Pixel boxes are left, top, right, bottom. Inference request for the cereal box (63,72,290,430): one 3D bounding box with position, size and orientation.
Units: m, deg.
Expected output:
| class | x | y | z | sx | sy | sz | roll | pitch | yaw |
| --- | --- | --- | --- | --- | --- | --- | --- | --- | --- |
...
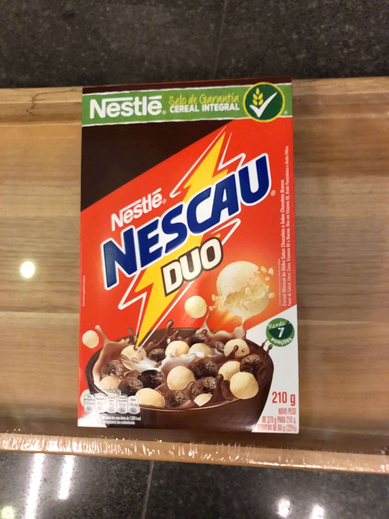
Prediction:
| class | x | y | z | sx | sy | sz | roll | pitch | yaw |
| --- | --- | --- | --- | --- | --- | --- | --- | --- | --- |
| cereal box | -0.012 | -0.007 | 0.336 | 0.160 | 0.050 | 0.250 | 0 | 86 | 6 |
